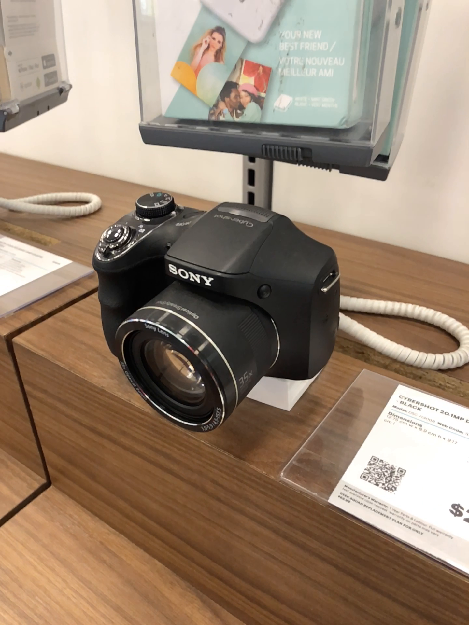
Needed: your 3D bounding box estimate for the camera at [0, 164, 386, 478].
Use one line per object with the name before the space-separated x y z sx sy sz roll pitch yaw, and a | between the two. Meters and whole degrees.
camera | -0.017 -0.013 0.269 0.140 0.080 0.120 19 35 30
